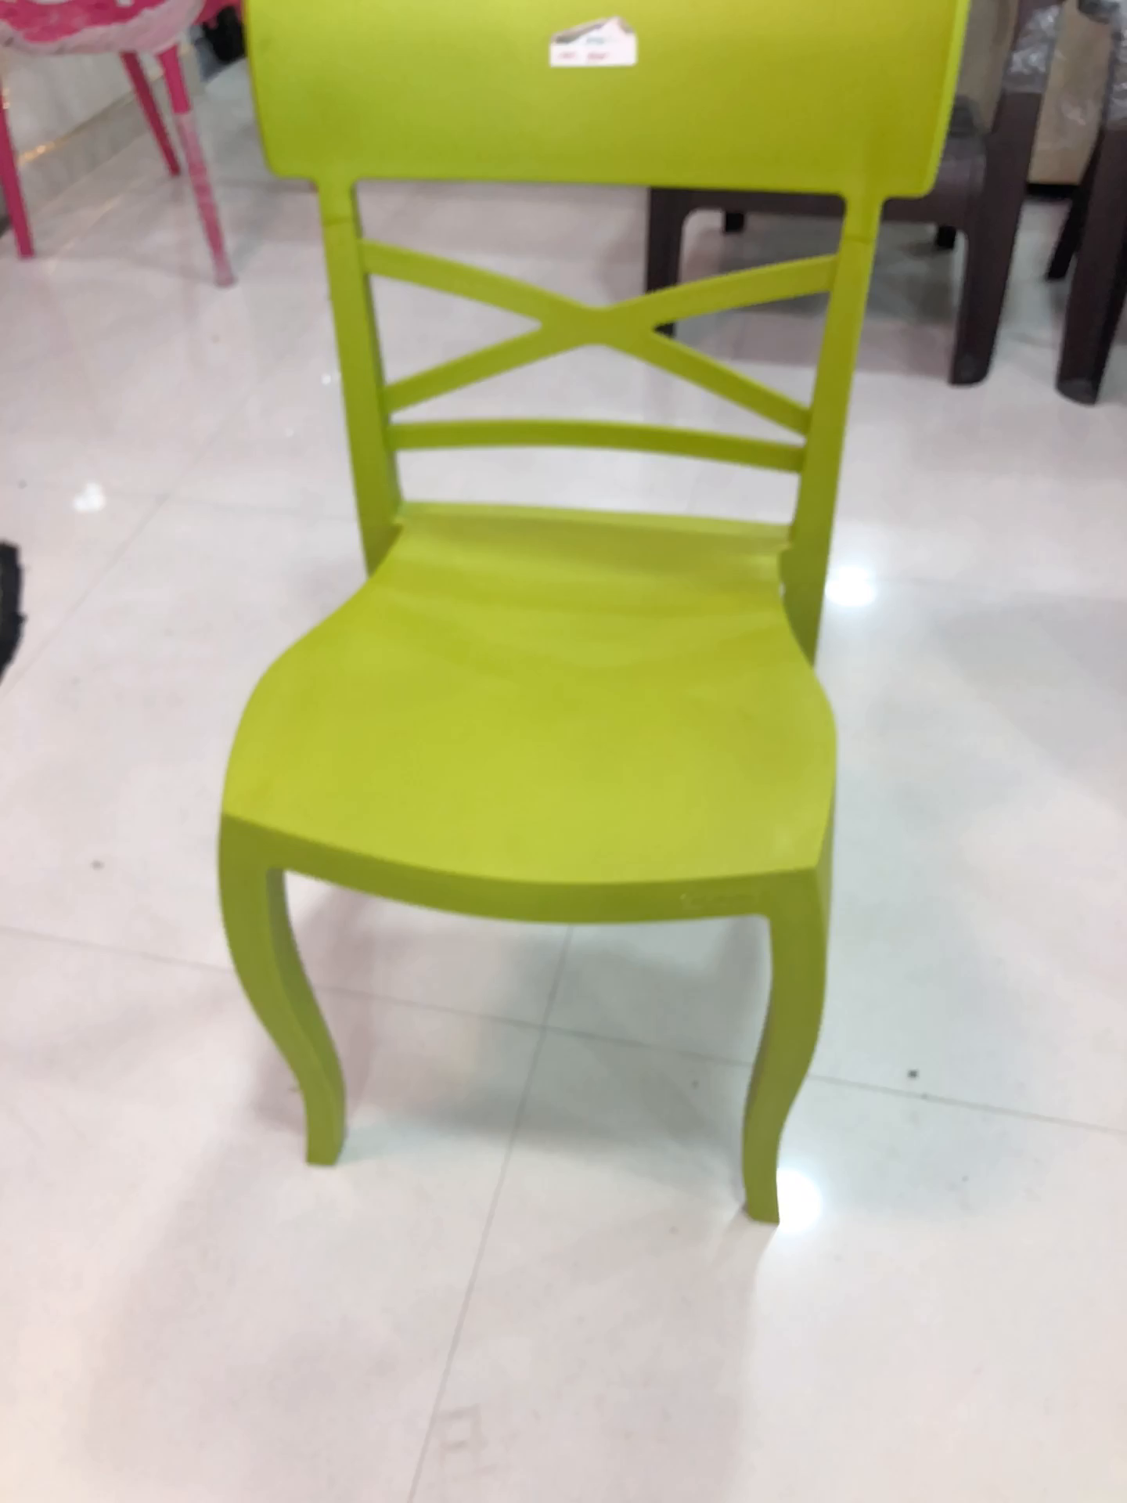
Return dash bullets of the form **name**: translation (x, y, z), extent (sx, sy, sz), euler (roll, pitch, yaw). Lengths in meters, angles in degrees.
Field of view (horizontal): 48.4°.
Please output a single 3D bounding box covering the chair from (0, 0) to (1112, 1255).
- **chair**: translation (0.003, -0.132, 0.954), extent (0.500, 0.805, 0.614), euler (6, 44, 8)
